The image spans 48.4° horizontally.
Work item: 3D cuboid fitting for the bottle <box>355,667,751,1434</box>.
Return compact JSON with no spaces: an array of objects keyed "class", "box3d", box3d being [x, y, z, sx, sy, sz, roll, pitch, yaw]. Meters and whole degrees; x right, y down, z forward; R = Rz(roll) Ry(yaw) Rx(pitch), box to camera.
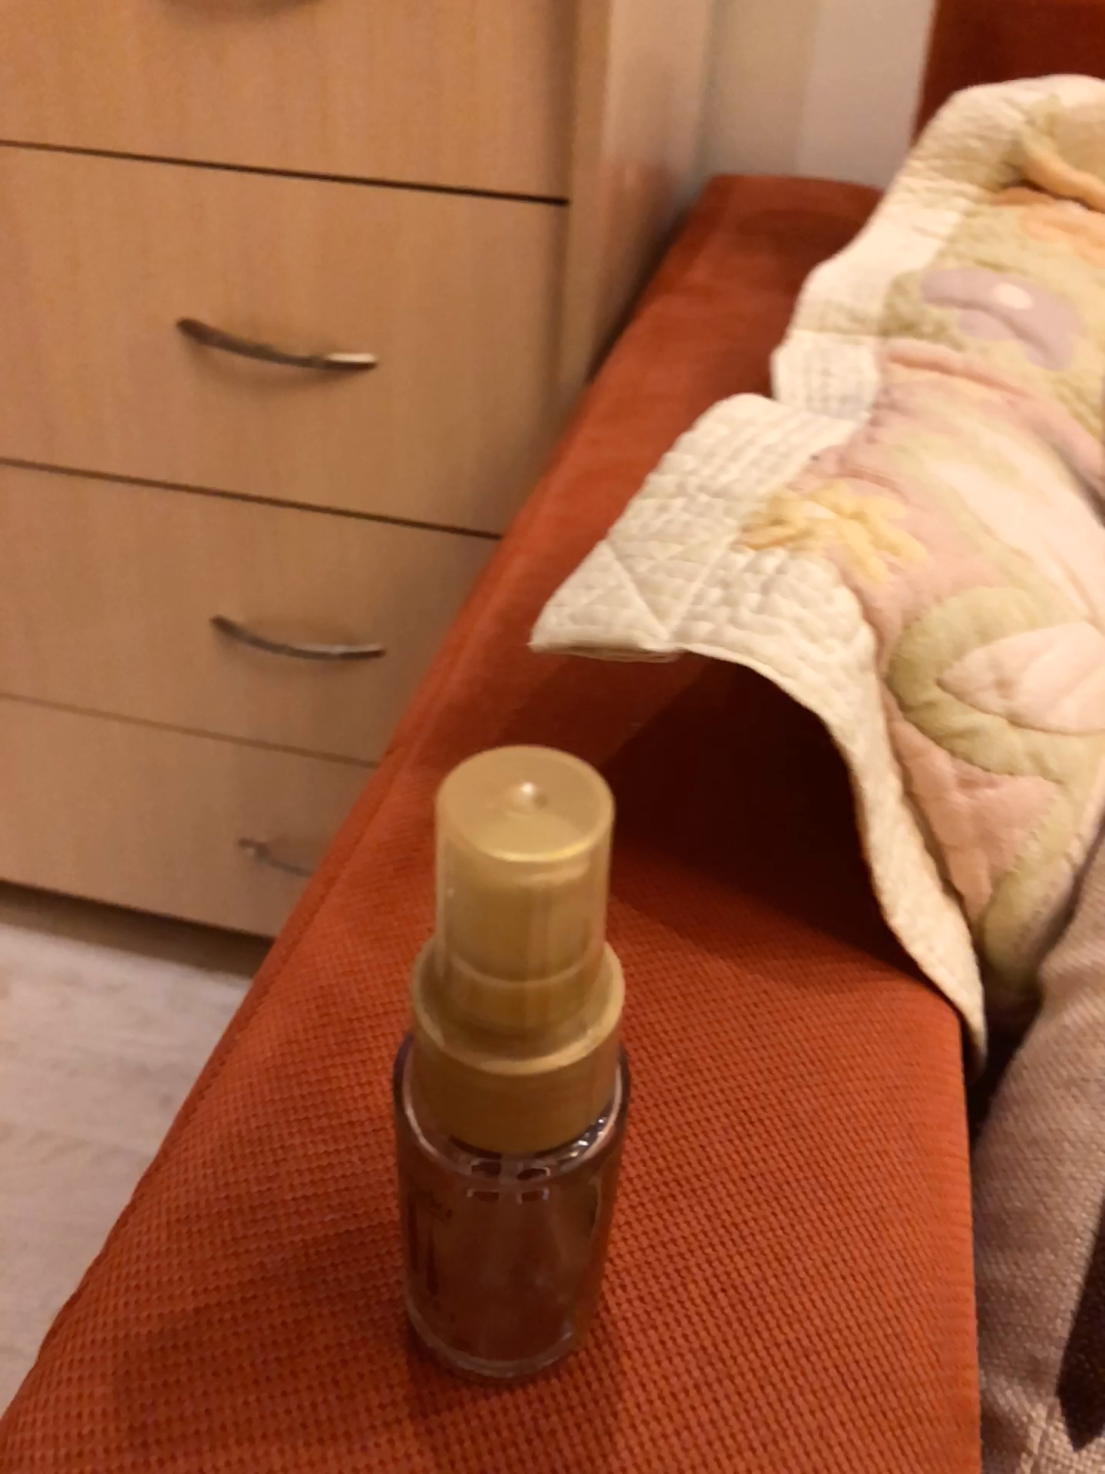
[{"class":"bottle","box3d":[-0.003,0.048,0.177,0.033,0.106,0.034,2,34,-2]}]
